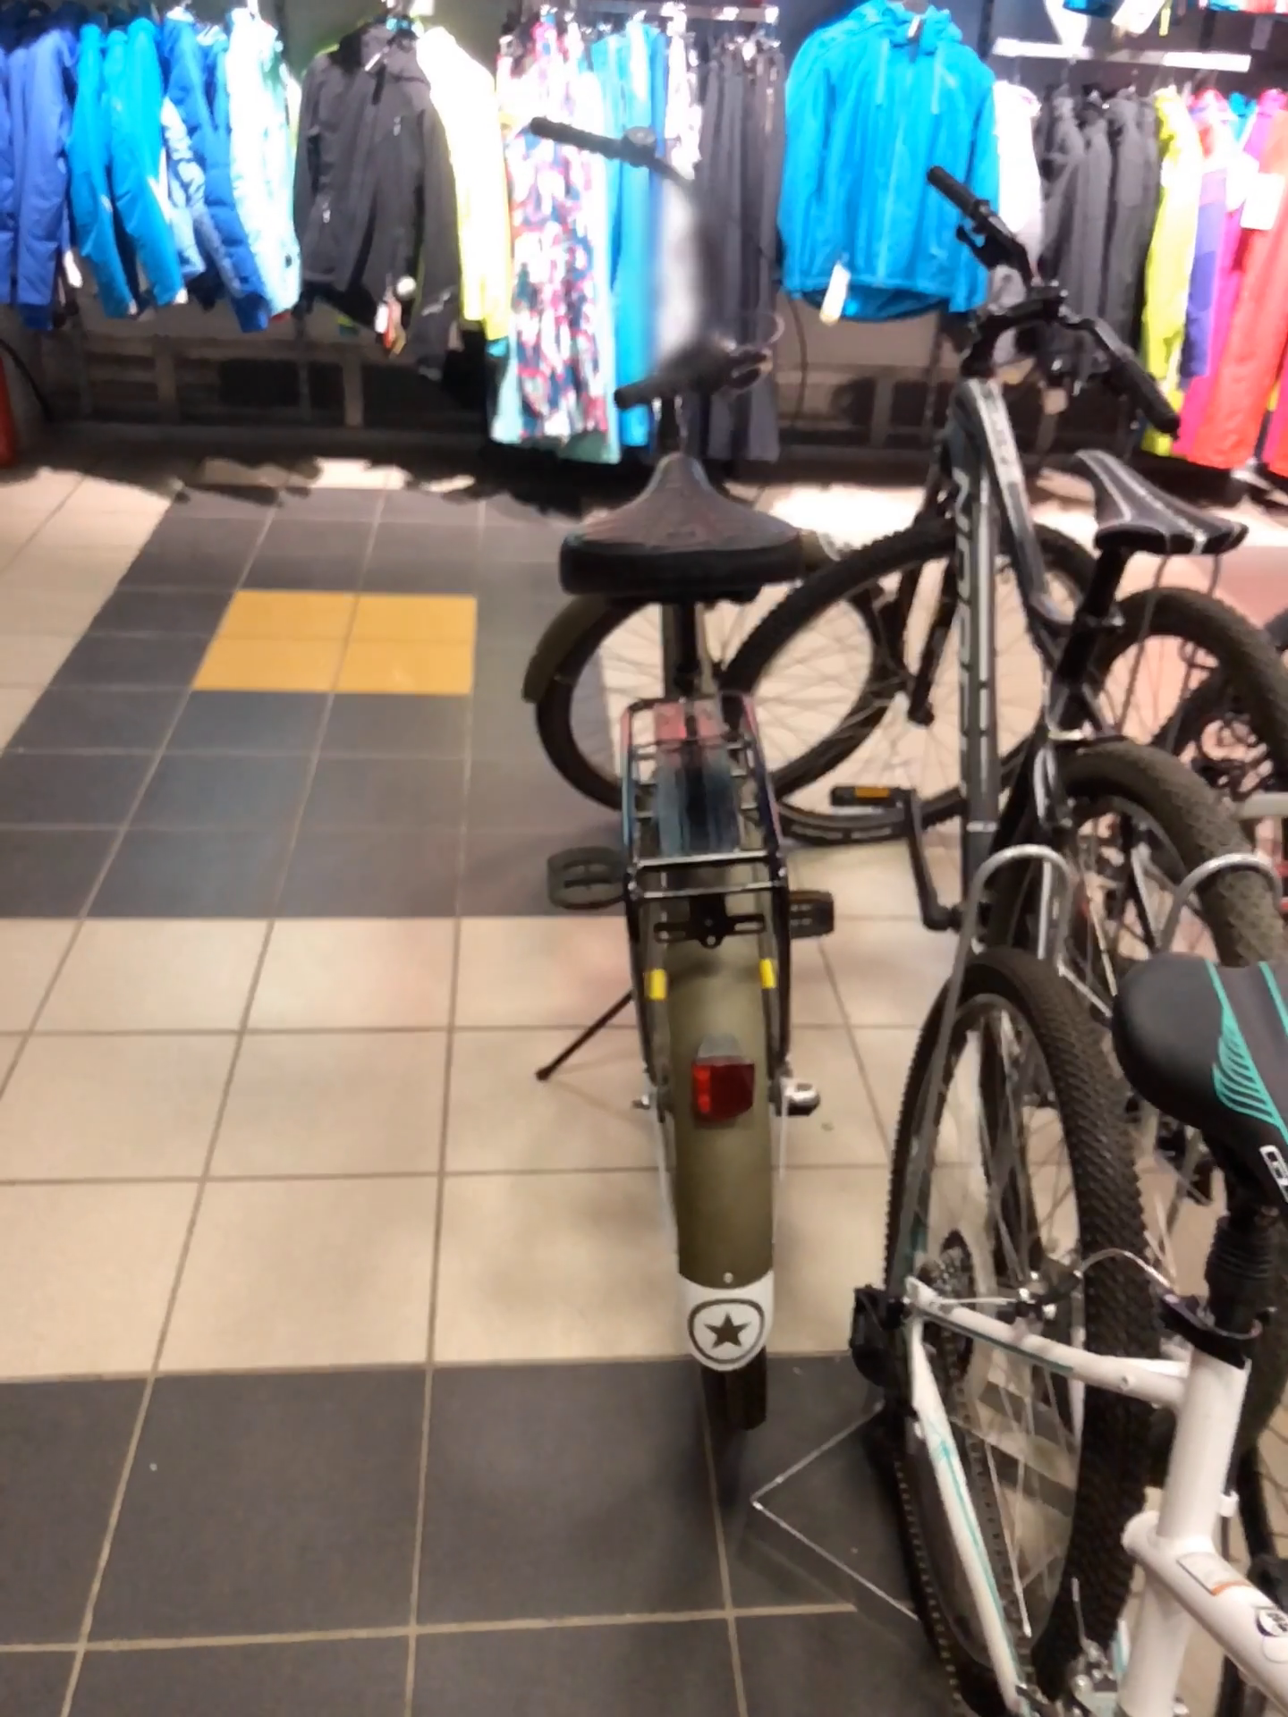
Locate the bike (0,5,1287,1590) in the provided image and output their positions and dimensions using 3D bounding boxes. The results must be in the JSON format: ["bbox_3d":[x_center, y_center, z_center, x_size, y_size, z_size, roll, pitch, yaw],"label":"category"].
[{"bbox_3d":[0.177,-0.254,1.680,0.831,1.130,1.504,9,34,9],"label":"bike"}]

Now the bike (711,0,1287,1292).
[{"bbox_3d":[0.553,-0.355,1.880,0.663,1.228,0.979,7,38,5],"label":"bike"}]
